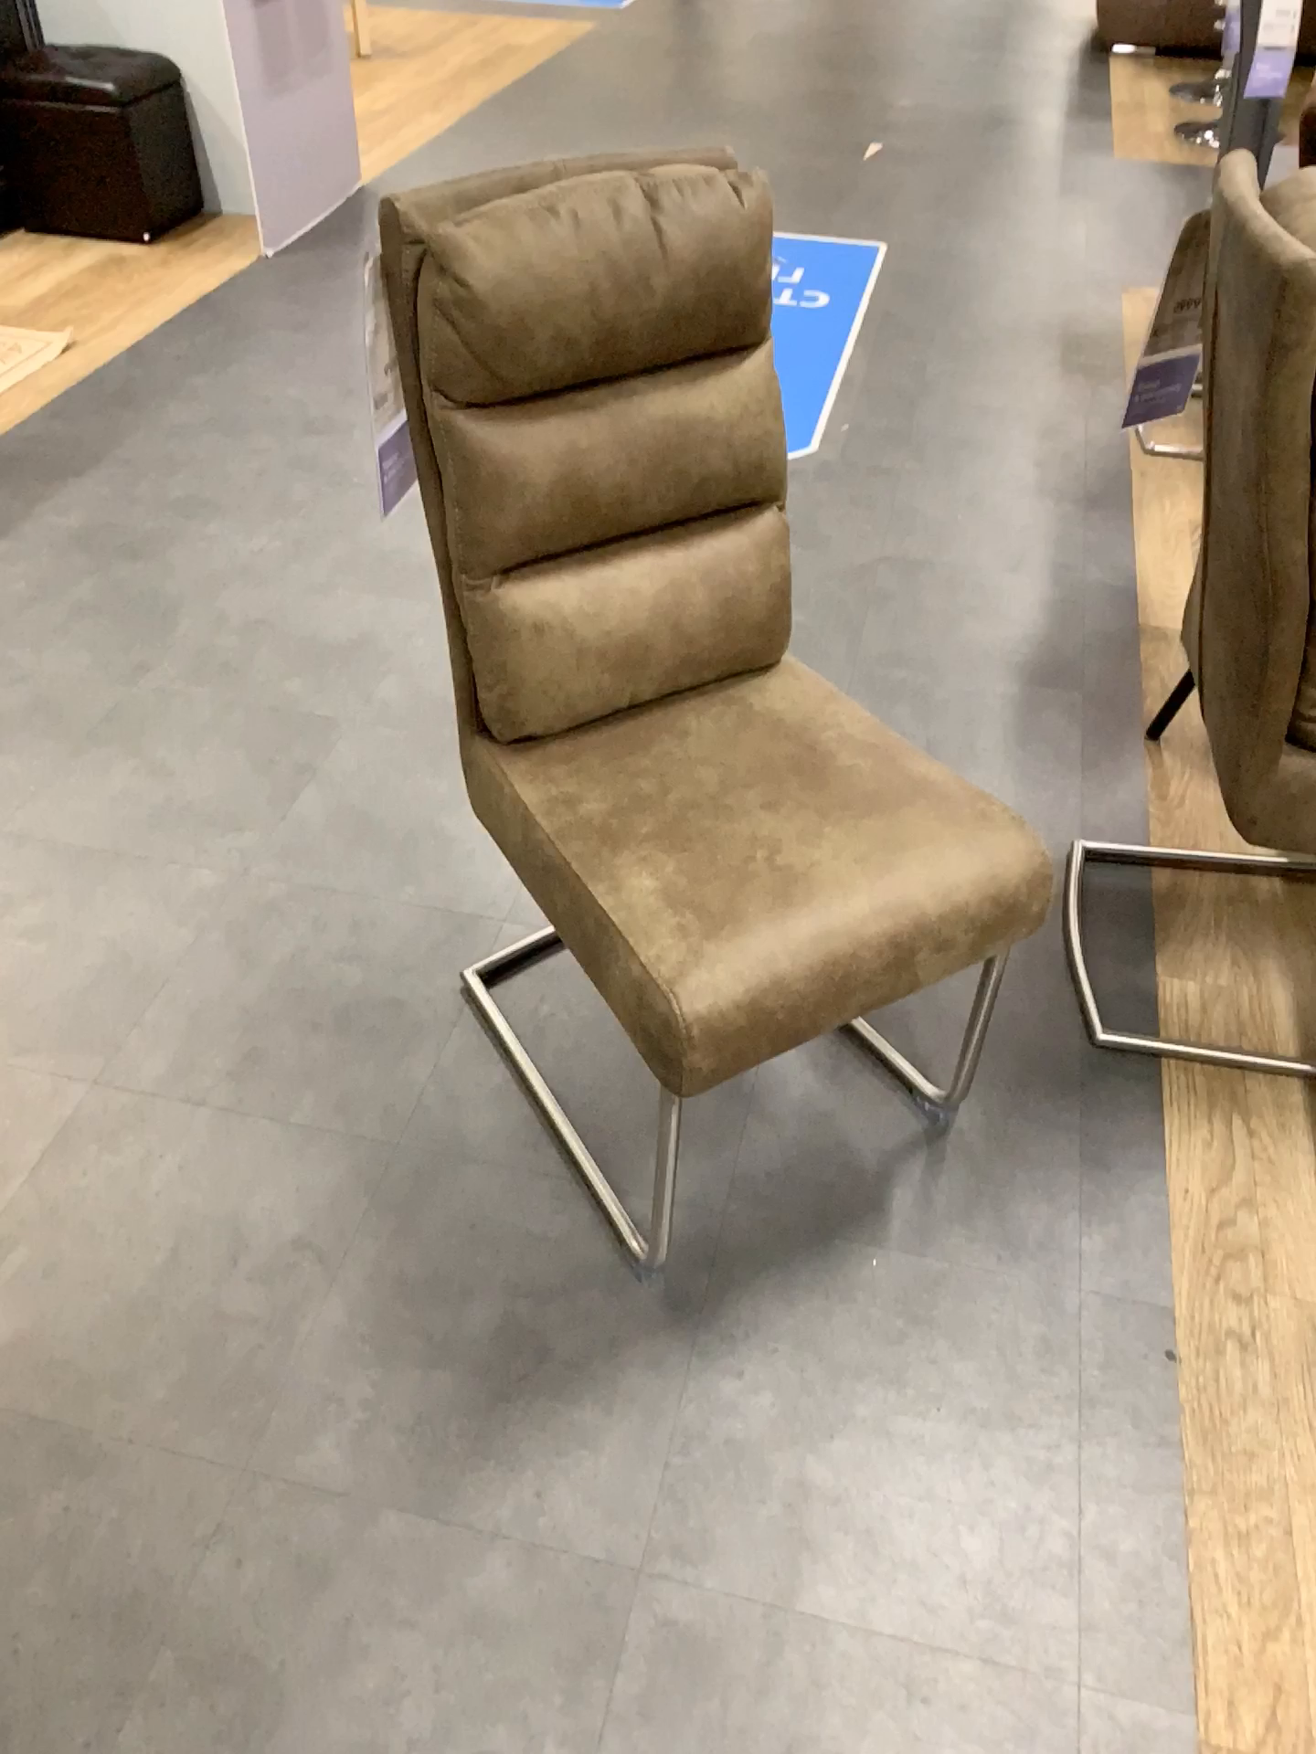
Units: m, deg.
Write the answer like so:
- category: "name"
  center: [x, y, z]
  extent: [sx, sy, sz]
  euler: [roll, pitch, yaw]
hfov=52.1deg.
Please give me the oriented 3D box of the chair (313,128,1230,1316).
- category: "chair"
  center: [0.054, -0.148, 1.435]
  extent: [0.501, 0.994, 0.602]
  euler: [-21, 46, -23]
